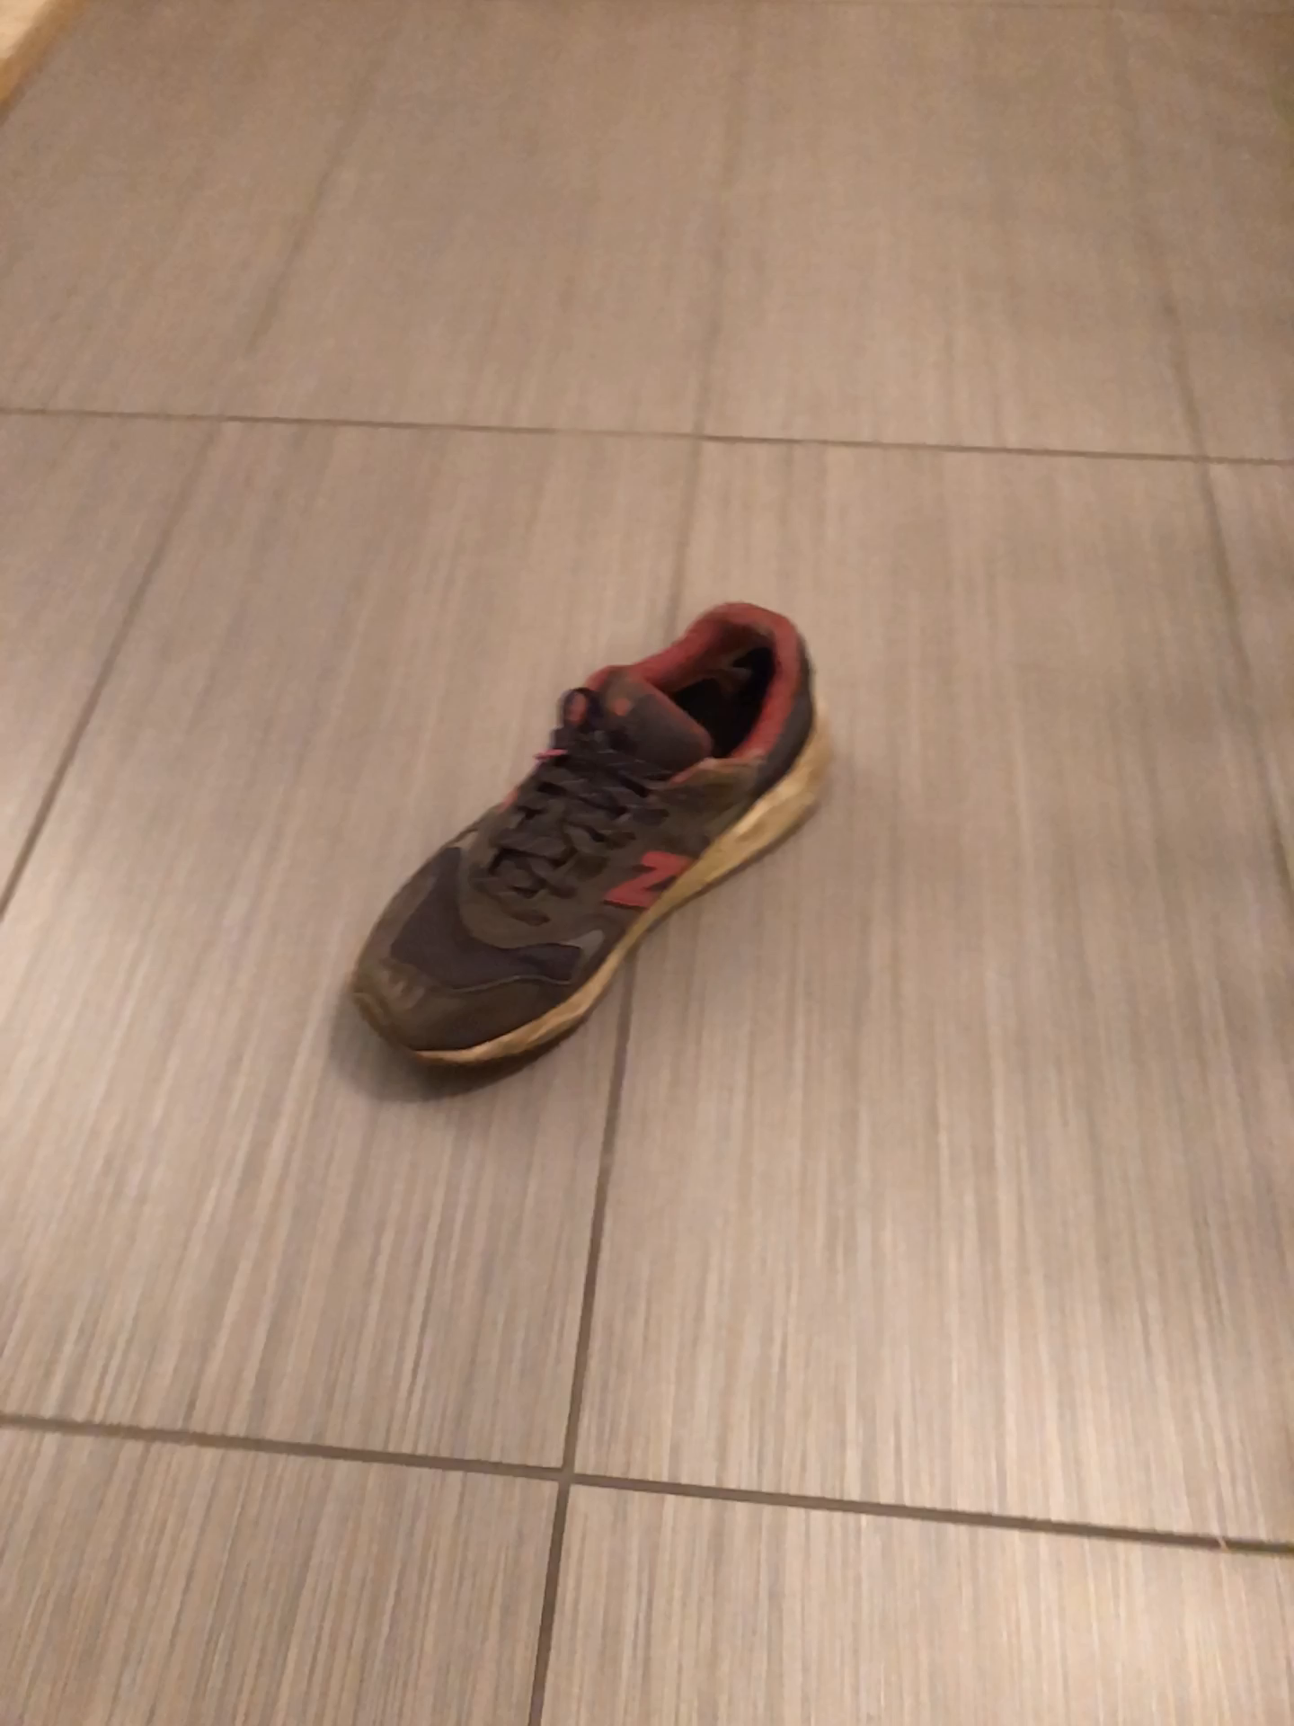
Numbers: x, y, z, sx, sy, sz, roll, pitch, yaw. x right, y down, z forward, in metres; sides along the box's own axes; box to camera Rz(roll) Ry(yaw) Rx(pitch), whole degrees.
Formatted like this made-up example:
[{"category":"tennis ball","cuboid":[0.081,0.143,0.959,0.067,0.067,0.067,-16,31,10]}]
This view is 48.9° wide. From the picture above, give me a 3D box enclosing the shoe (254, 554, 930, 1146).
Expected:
[{"category":"shoe","cuboid":[-0.016,-0.017,0.622,0.271,0.070,0.120,-37,60,-24]}]
